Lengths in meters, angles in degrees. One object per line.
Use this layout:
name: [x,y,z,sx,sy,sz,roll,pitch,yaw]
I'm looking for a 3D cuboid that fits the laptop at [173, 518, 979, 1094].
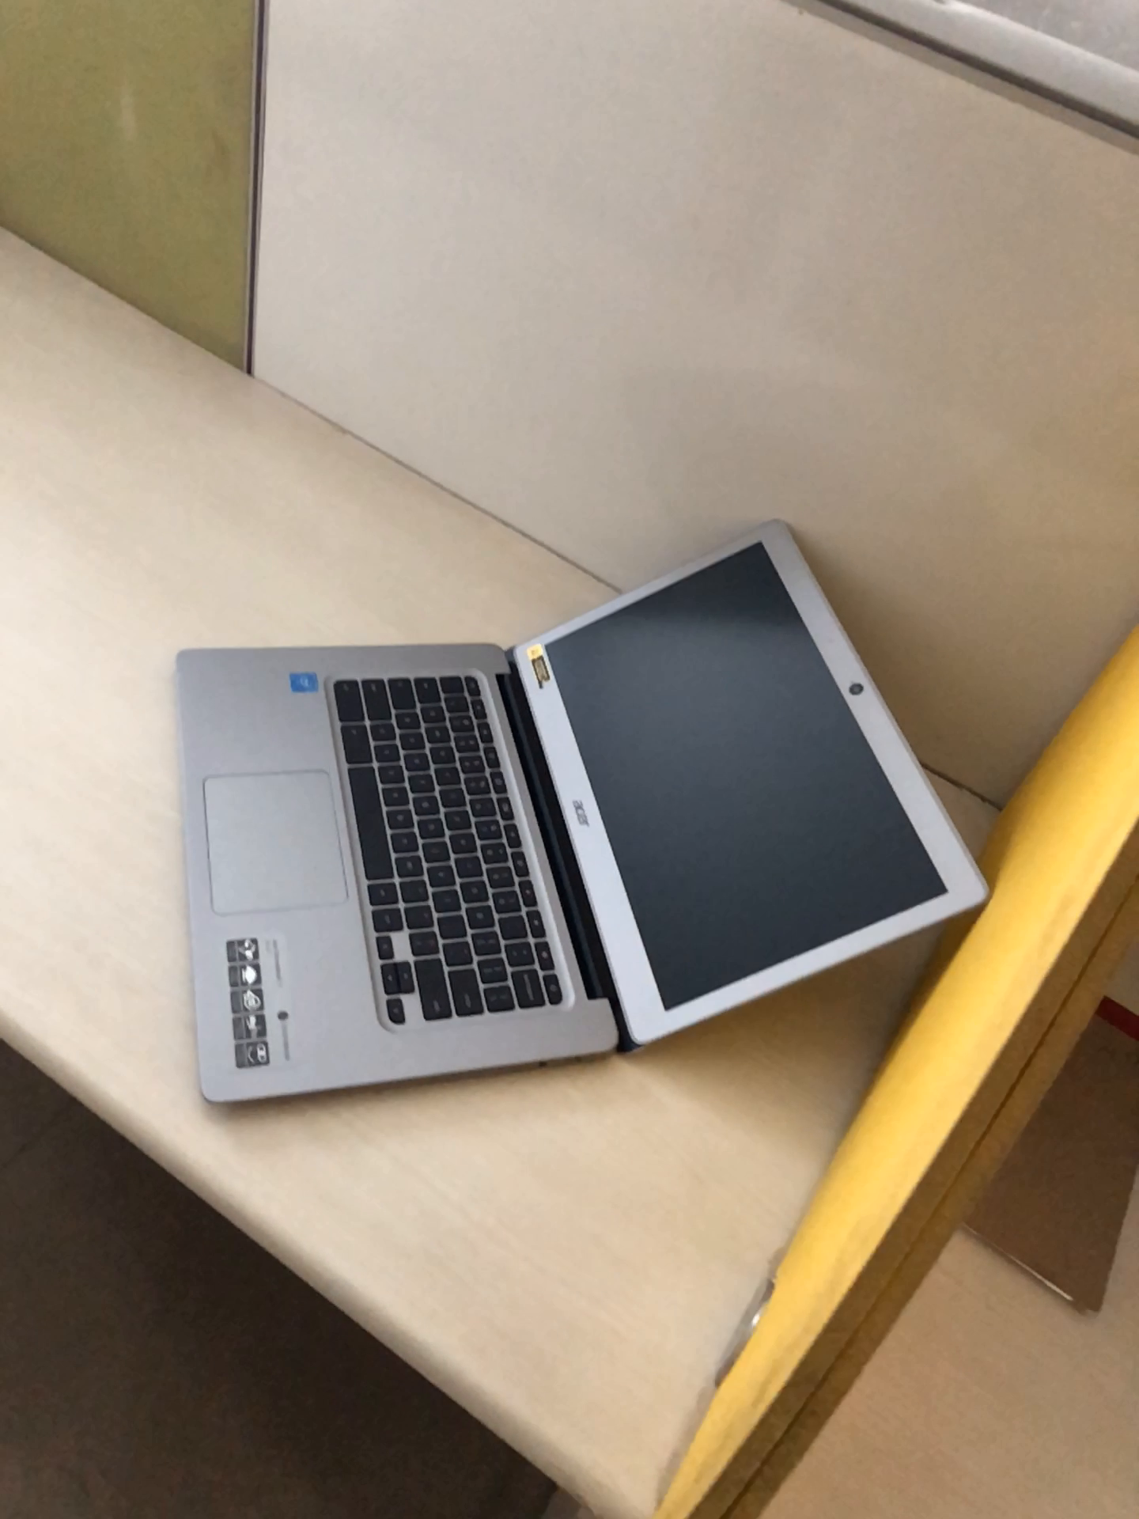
laptop: [-0.023,0.002,0.766,0.409,0.123,0.321,-3,49,-17]
